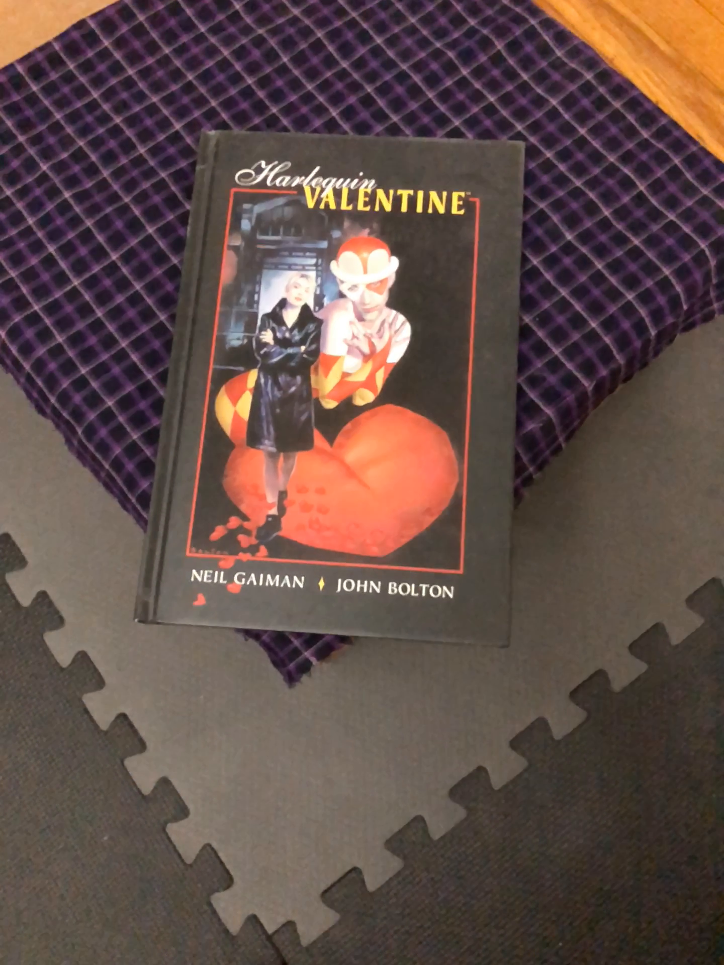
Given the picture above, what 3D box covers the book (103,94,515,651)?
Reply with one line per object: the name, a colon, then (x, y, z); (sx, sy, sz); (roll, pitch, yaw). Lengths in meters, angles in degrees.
book: (-0.018, -0.064, 0.399); (0.180, 0.020, 0.280); (3, 76, 3)
